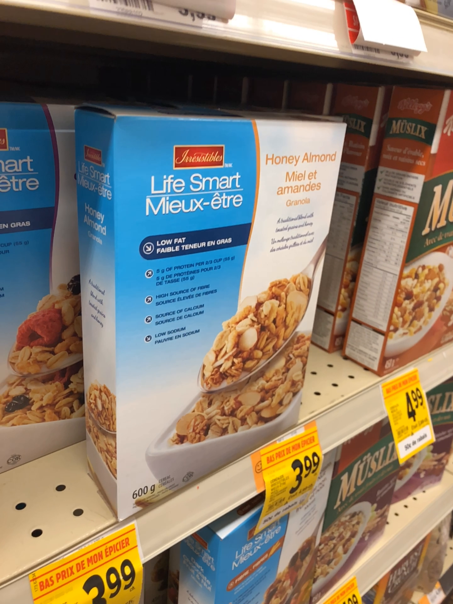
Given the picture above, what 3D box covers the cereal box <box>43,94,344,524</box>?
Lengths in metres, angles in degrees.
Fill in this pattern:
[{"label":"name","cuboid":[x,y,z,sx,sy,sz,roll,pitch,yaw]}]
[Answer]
[{"label":"cereal box","cuboid":[-0.020,-0.002,0.334,0.171,0.238,0.060,-15,30,-39]}]
